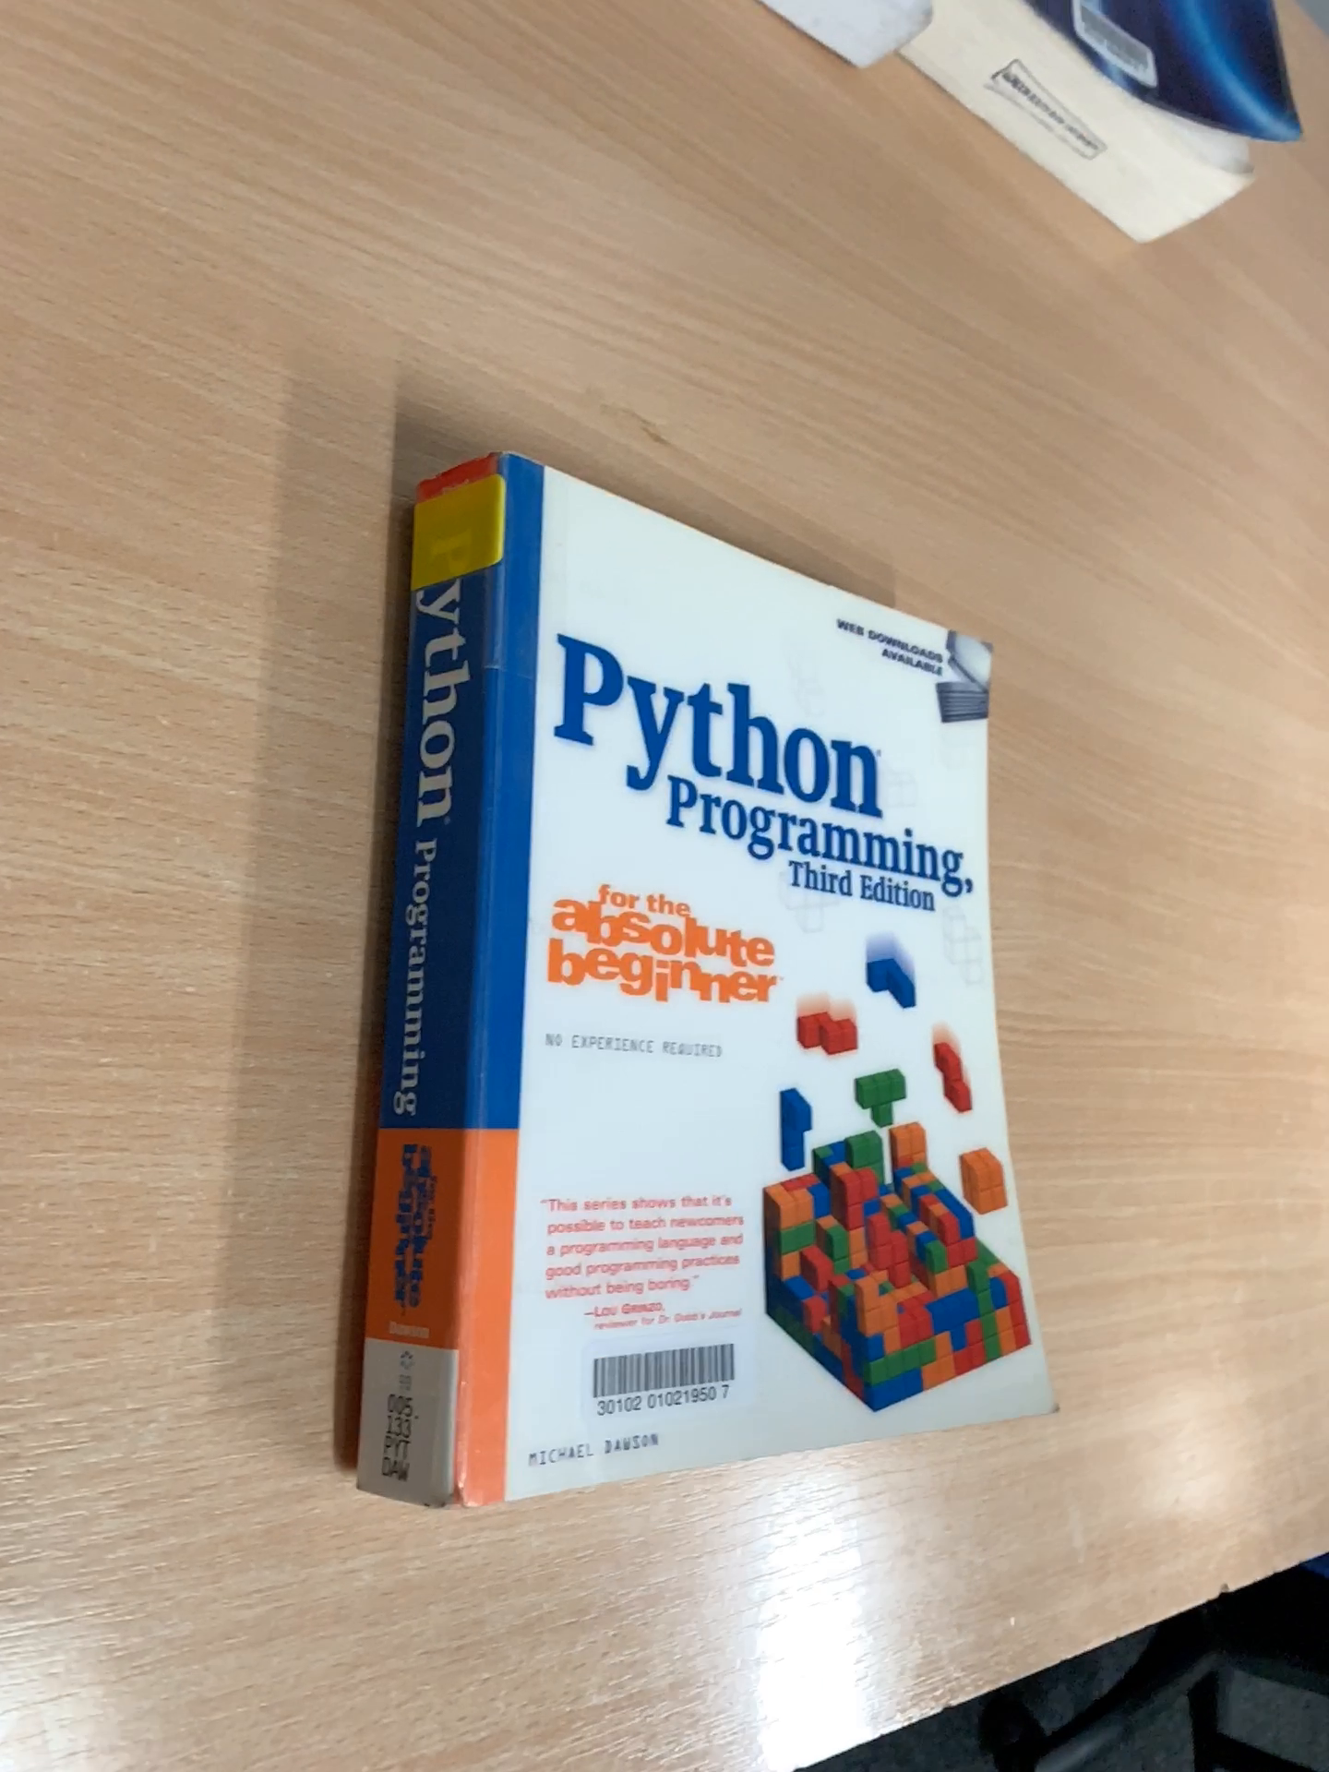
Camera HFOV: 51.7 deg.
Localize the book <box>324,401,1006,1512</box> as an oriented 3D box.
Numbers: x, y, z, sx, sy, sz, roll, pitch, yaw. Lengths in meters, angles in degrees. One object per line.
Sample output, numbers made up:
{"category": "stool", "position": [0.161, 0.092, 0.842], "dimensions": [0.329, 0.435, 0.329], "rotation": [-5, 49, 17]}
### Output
{"category": "book", "position": [0.013, 0.019, 0.339], "dimensions": [0.175, 0.039, 0.219], "rotation": [10, 76, -40]}
